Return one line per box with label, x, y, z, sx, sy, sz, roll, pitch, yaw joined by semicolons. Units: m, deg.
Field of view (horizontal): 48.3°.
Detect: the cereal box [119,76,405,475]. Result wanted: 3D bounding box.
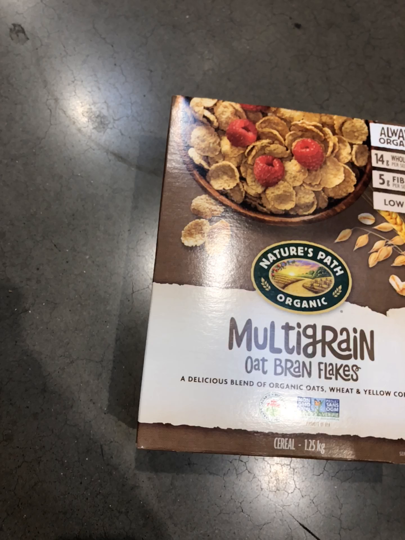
cereal box;0.069;0.004;0.417;0.240;0.110;0.310;6;73;-5
